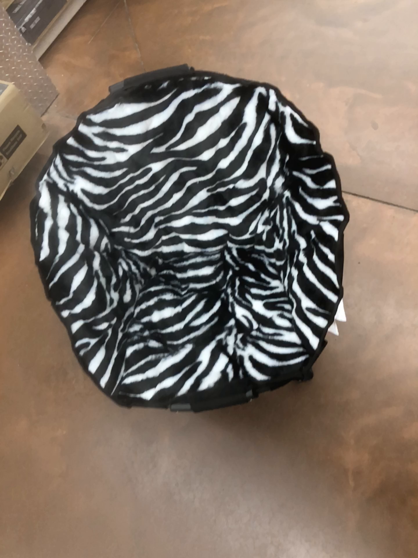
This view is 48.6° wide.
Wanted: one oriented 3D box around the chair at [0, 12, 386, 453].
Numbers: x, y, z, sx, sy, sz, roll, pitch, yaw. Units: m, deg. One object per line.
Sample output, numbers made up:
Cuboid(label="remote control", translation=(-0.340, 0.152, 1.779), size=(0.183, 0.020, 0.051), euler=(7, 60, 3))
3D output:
Cuboid(label="chair", translation=(-0.049, -0.021, 0.993), size=(0.610, 0.599, 0.600), euler=(-12, 61, 9))
